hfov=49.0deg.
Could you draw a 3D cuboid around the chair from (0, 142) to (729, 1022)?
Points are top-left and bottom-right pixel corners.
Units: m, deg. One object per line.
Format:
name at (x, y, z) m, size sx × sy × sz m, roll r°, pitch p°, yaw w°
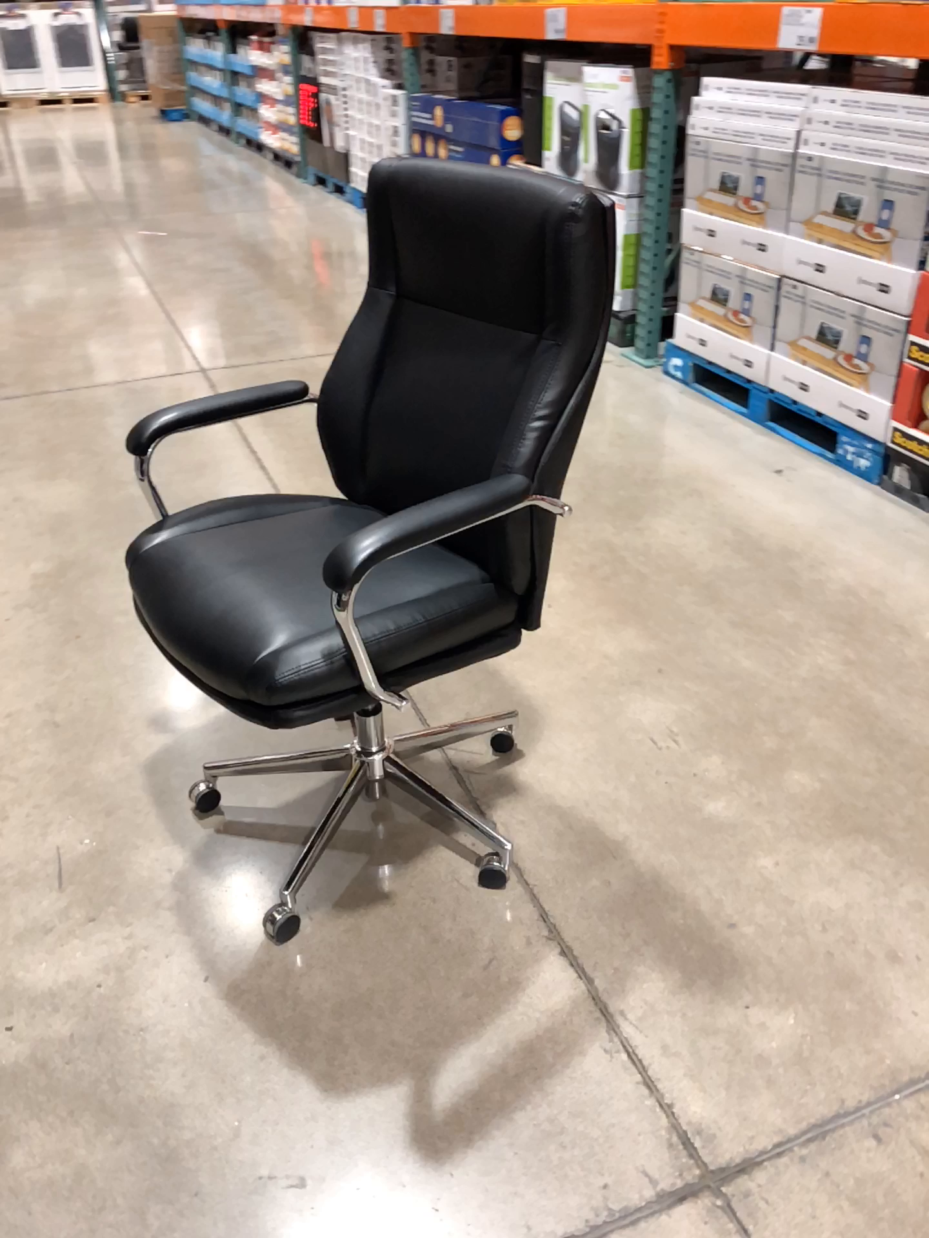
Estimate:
chair at (-0.152, -0.126, 1.621) m, size 0.700 × 1.046 × 0.713 m, roll -21°, pitch 36°, yaw -30°
